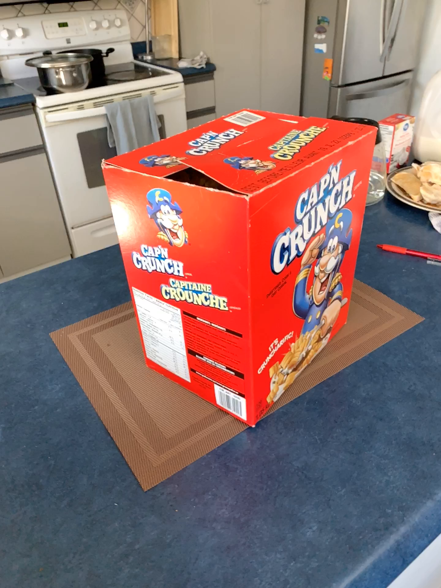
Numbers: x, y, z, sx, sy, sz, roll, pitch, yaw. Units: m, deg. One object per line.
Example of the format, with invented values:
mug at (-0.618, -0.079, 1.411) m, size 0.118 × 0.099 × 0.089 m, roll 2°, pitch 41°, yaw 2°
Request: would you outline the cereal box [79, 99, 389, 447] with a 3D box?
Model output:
cereal box at (0.030, -0.049, 0.567) m, size 0.211 × 0.297 × 0.272 m, roll 23°, pitch 42°, yaw 33°
